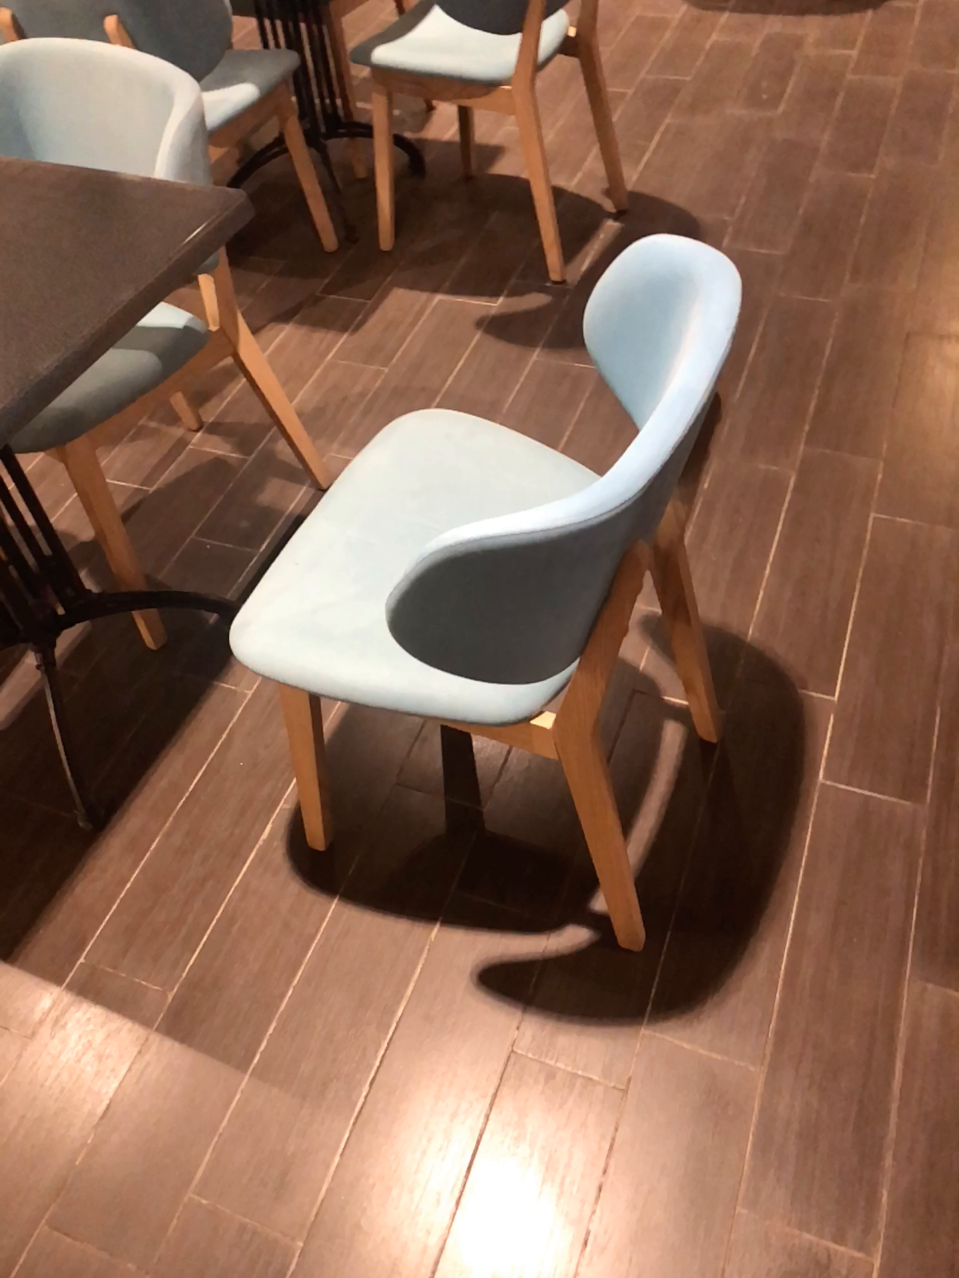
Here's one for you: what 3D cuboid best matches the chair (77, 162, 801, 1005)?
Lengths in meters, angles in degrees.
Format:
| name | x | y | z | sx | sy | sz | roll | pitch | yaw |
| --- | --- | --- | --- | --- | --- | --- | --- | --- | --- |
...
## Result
| name | x | y | z | sx | sy | sz | roll | pitch | yaw |
| --- | --- | --- | --- | --- | --- | --- | --- | --- | --- |
| chair | 0.016 | -0.035 | 1.265 | 0.510 | 0.817 | 0.482 | 16 | 52 | 19 |
